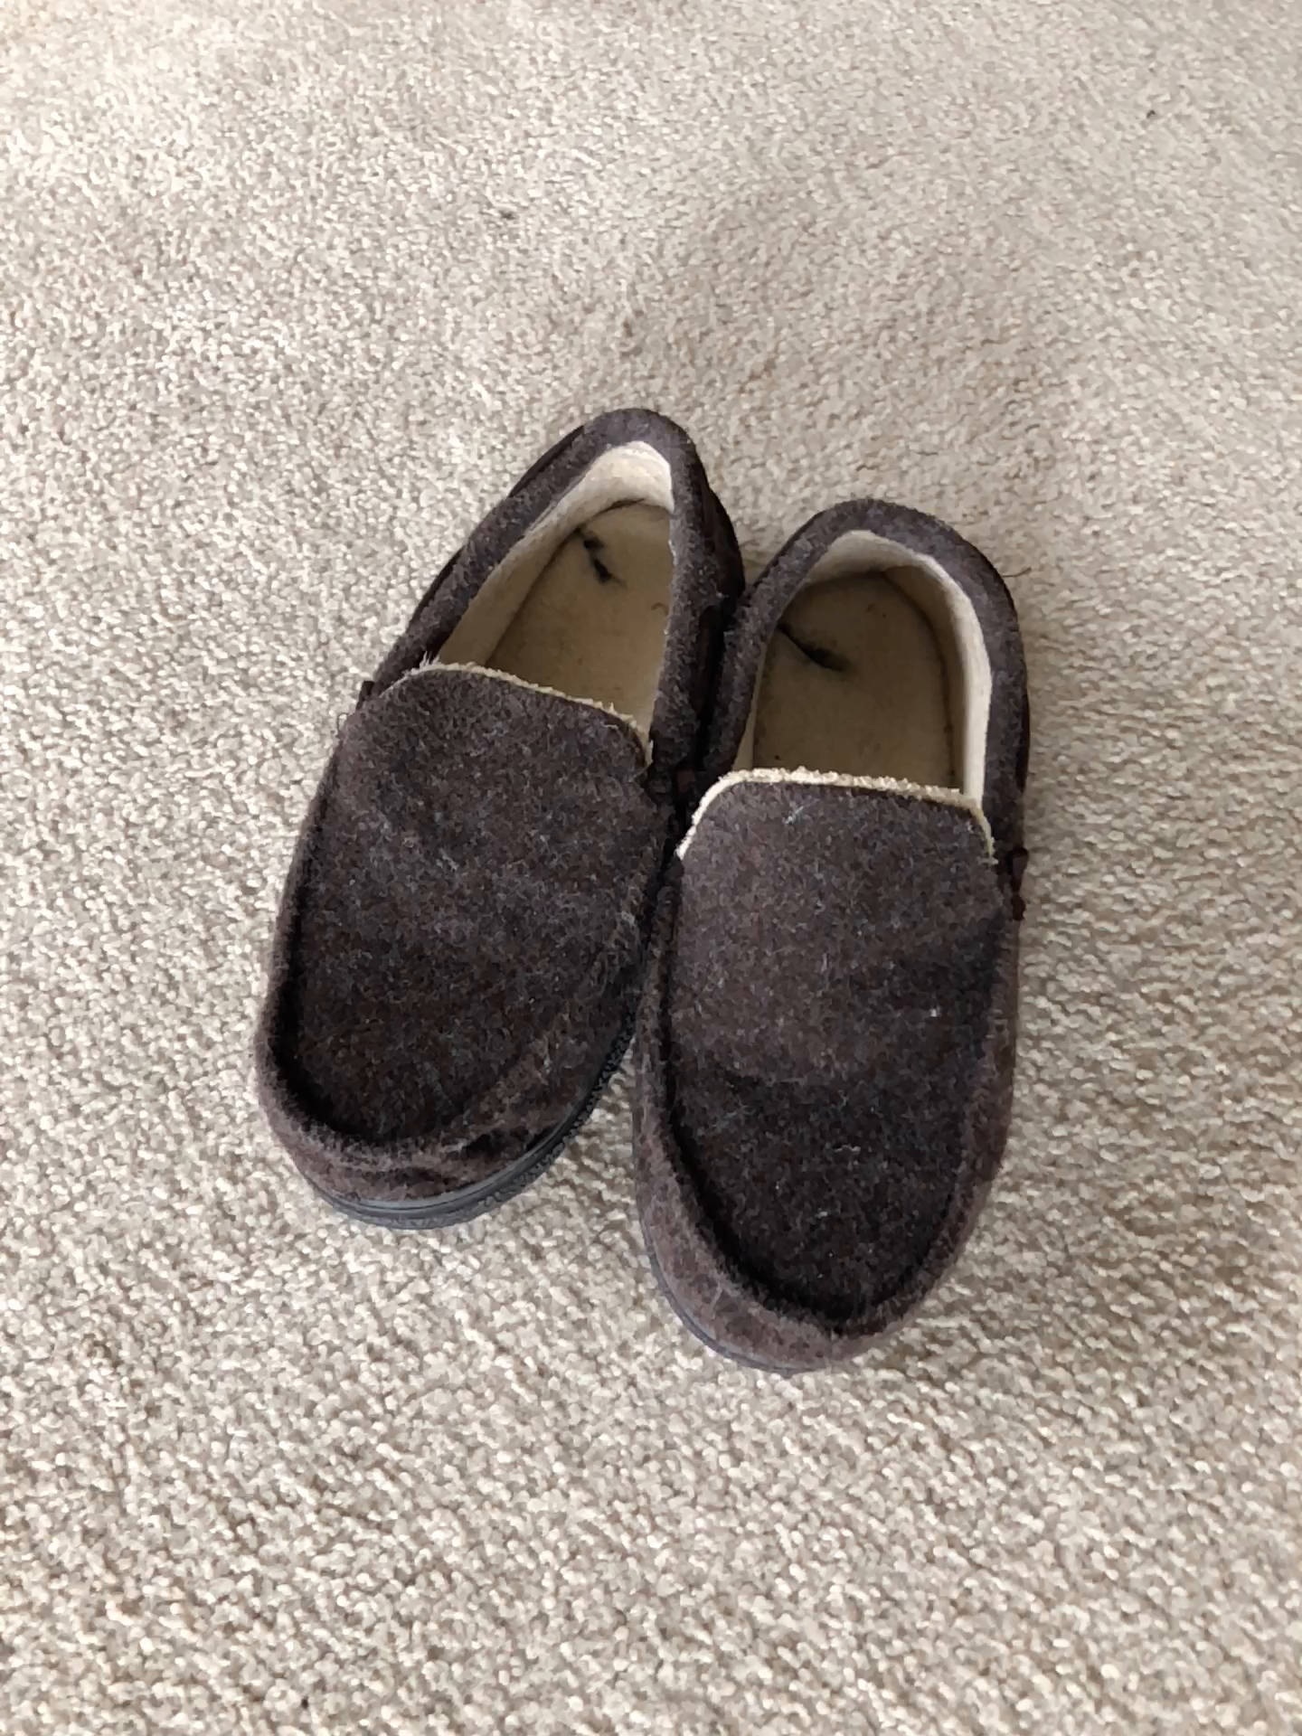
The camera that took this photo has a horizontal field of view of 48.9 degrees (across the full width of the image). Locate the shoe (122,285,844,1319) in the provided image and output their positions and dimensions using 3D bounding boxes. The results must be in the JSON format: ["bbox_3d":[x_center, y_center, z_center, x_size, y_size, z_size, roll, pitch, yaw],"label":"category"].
[{"bbox_3d":[-0.034,-0.035,0.470,0.120,0.096,0.318,14,63,7],"label":"shoe"}]

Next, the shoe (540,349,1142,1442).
[{"bbox_3d":[0.068,-0.006,0.449,0.118,0.096,0.317,12,62,6],"label":"shoe"}]
